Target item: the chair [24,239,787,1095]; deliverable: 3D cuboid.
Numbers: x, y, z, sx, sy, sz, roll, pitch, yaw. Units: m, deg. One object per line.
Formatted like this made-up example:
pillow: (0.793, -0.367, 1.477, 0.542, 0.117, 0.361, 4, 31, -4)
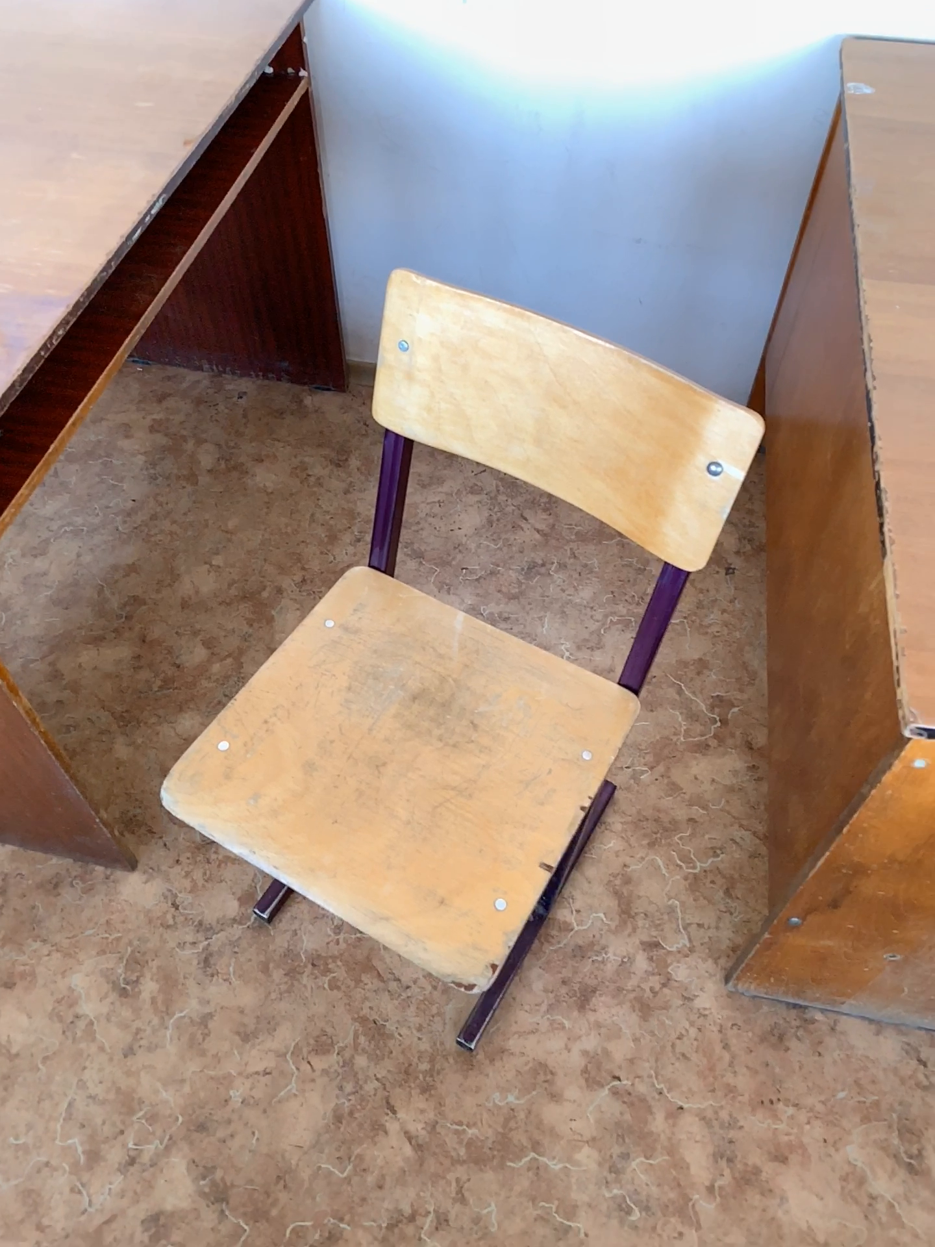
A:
chair: (-0.023, 0.096, 1.010, 0.381, 0.735, 0.473, 26, 57, 18)
